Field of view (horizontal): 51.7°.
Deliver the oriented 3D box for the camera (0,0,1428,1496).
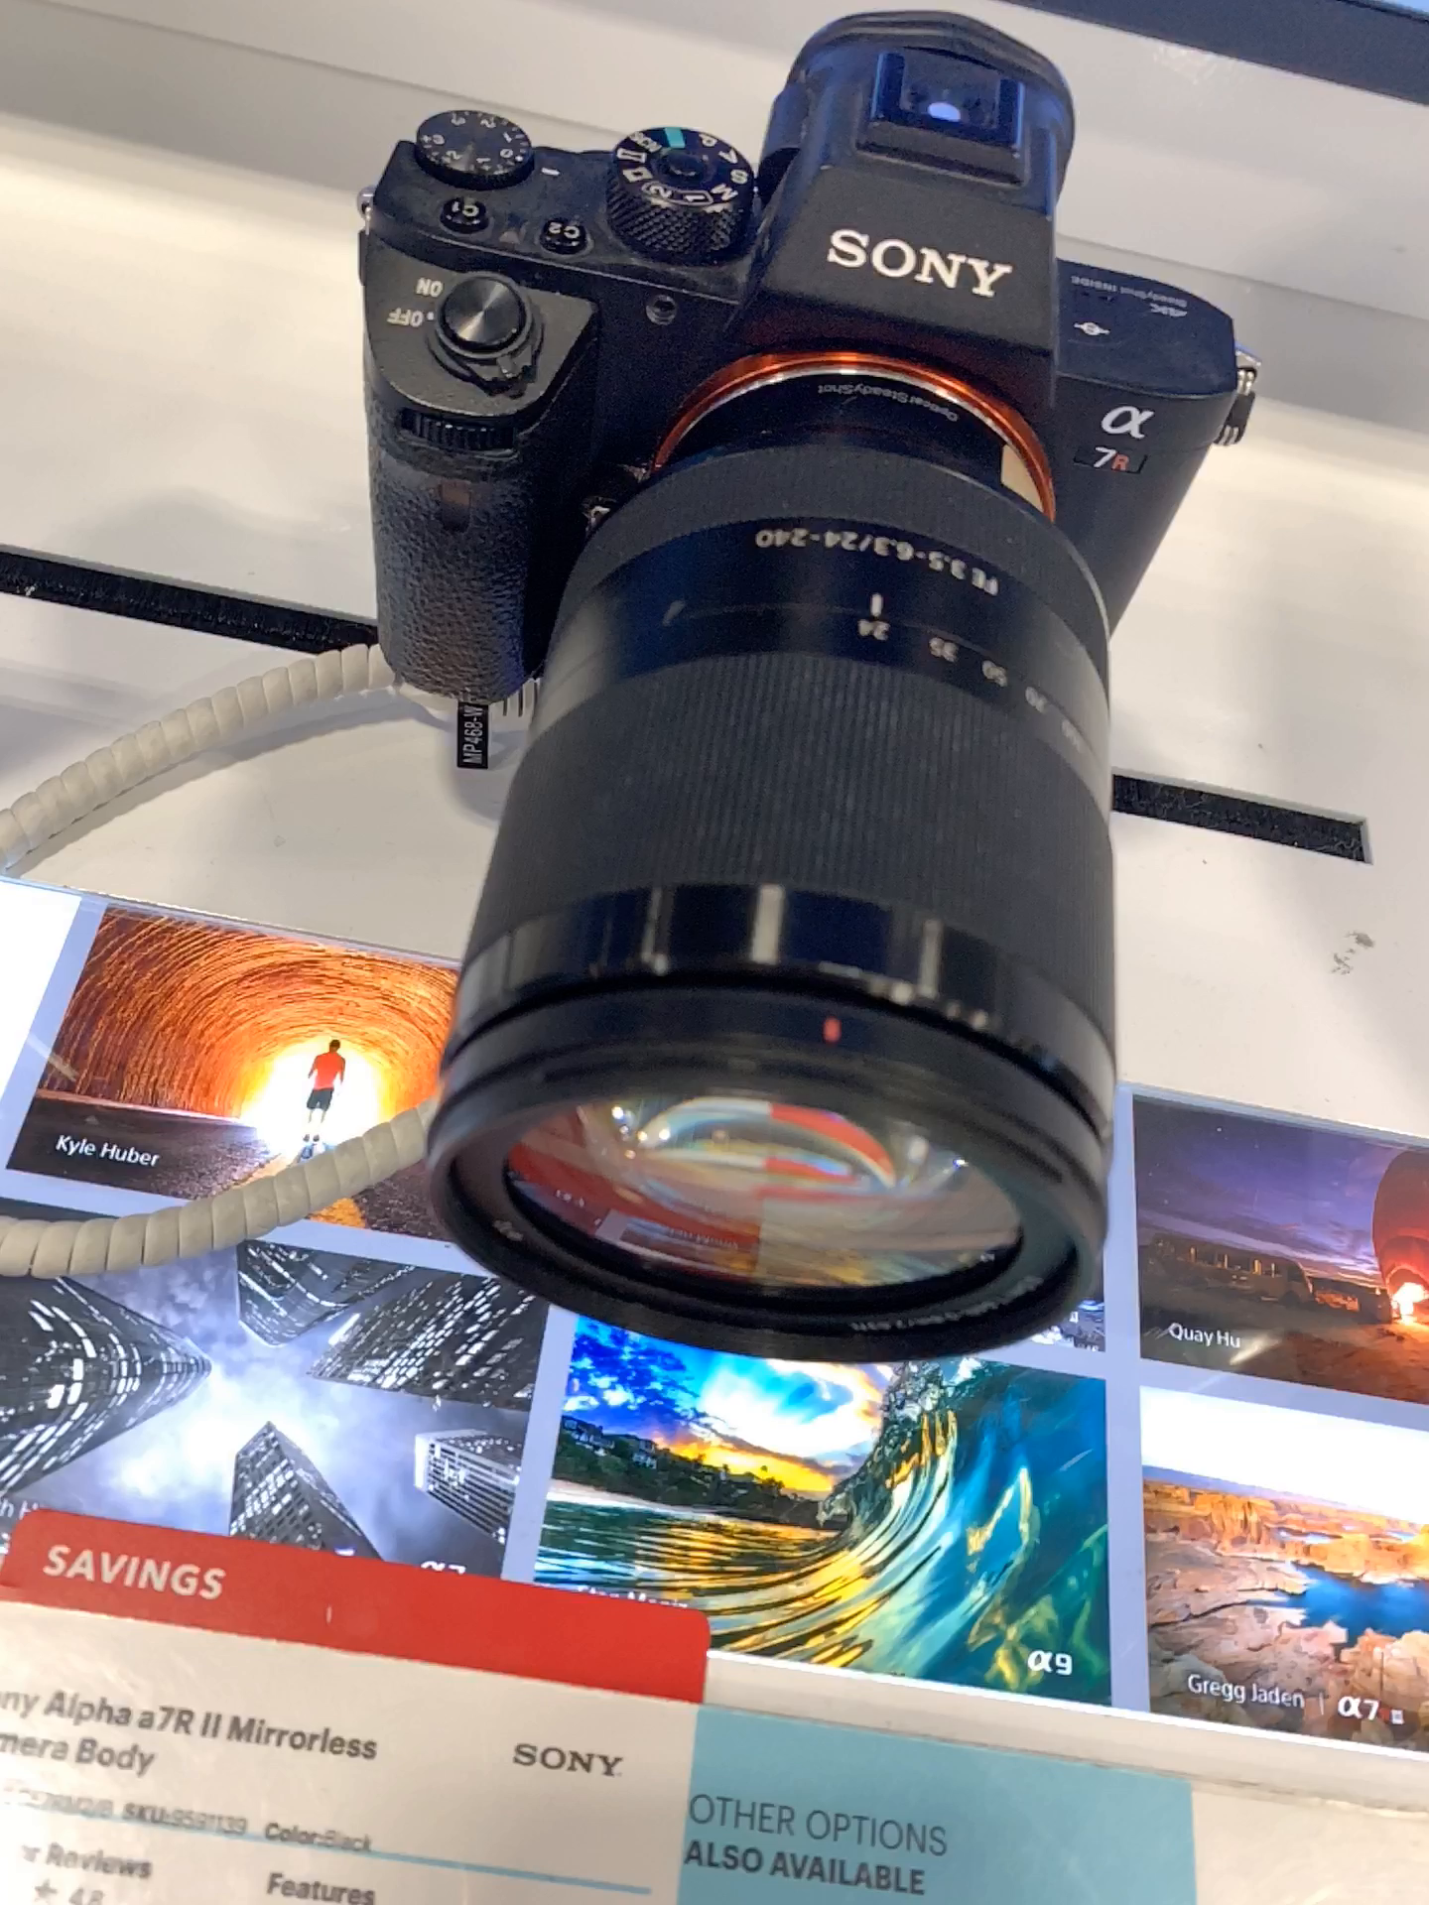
[{"bbox_3d":[0.004,-0.034,0.200,0.130,0.100,0.173,9,59,-4],"label":"camera"}]
